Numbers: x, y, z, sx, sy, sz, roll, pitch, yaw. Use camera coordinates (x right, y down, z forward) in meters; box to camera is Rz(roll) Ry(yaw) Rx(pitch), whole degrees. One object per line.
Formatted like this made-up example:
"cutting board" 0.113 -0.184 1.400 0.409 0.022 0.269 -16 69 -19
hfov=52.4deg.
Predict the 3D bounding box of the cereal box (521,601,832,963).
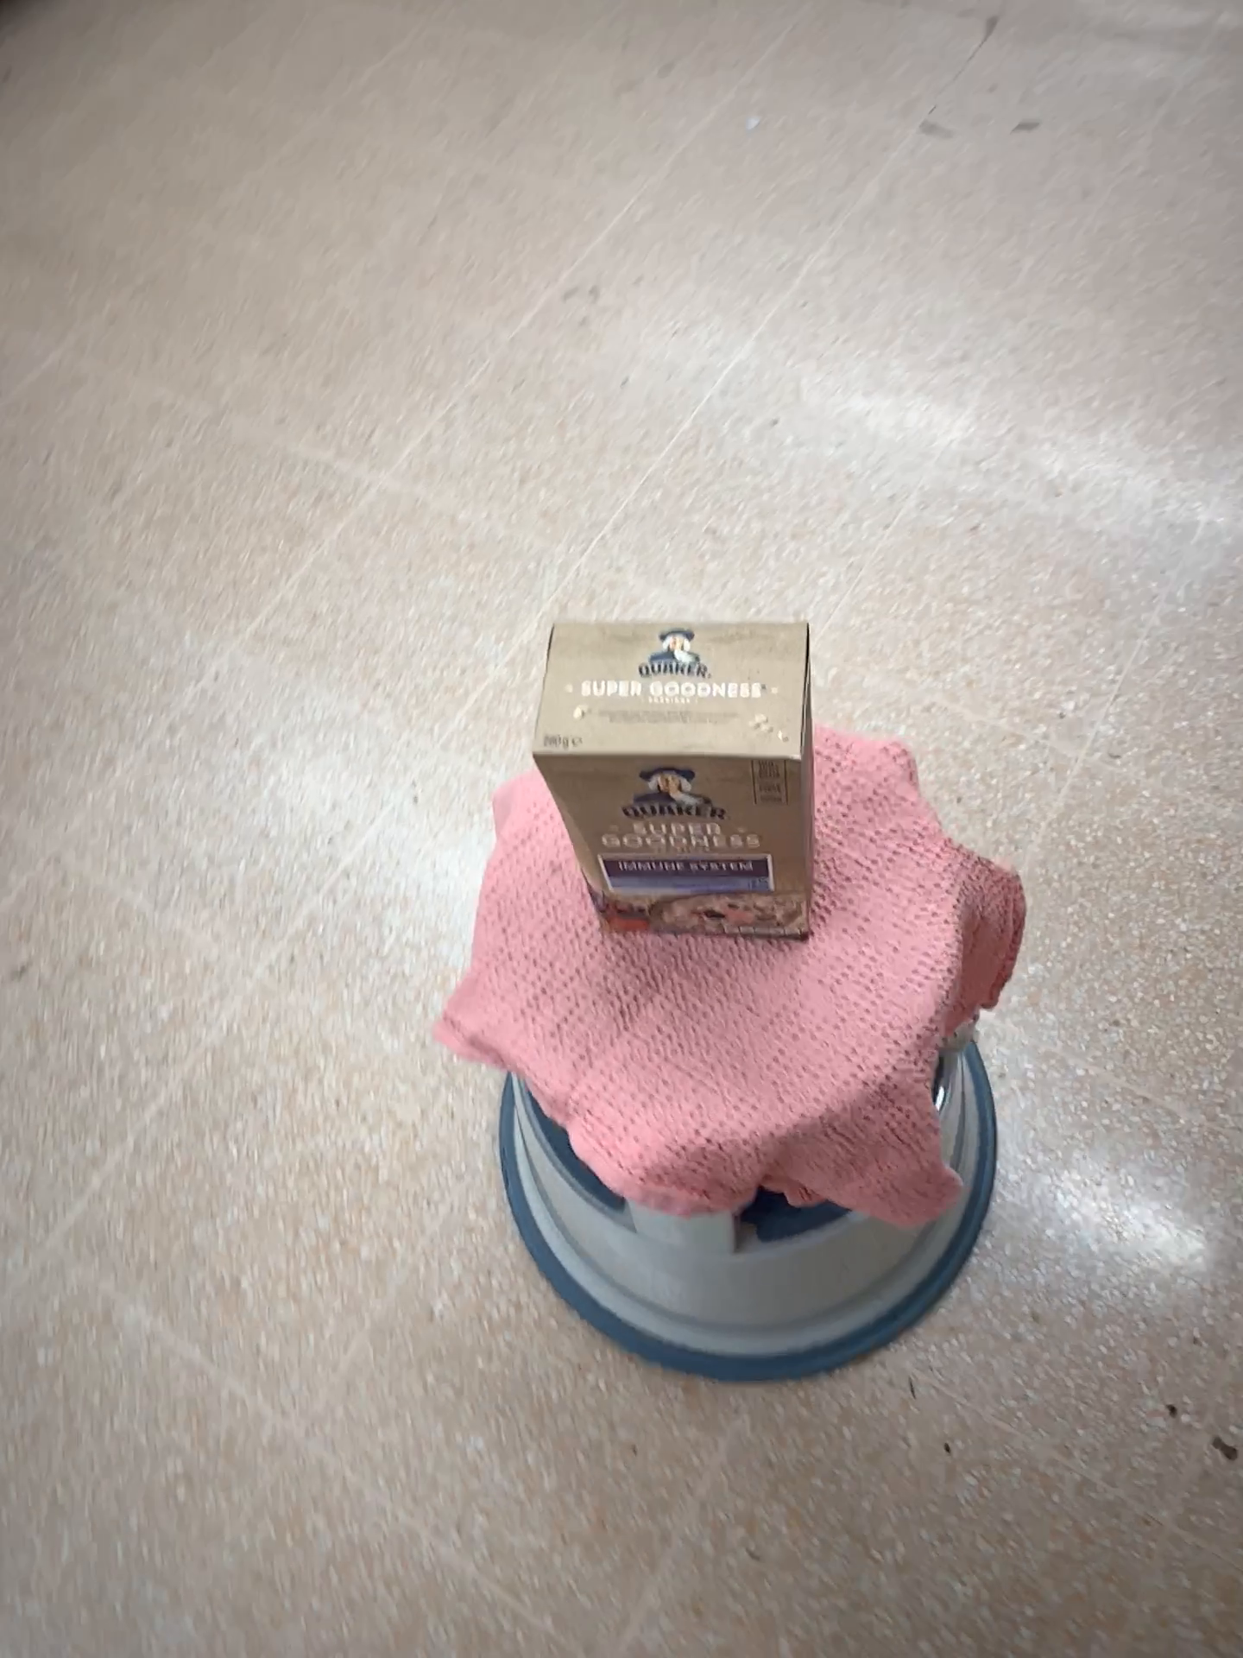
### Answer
"cereal box" 0.043 -0.018 0.693 0.140 0.209 0.101 2 61 10
